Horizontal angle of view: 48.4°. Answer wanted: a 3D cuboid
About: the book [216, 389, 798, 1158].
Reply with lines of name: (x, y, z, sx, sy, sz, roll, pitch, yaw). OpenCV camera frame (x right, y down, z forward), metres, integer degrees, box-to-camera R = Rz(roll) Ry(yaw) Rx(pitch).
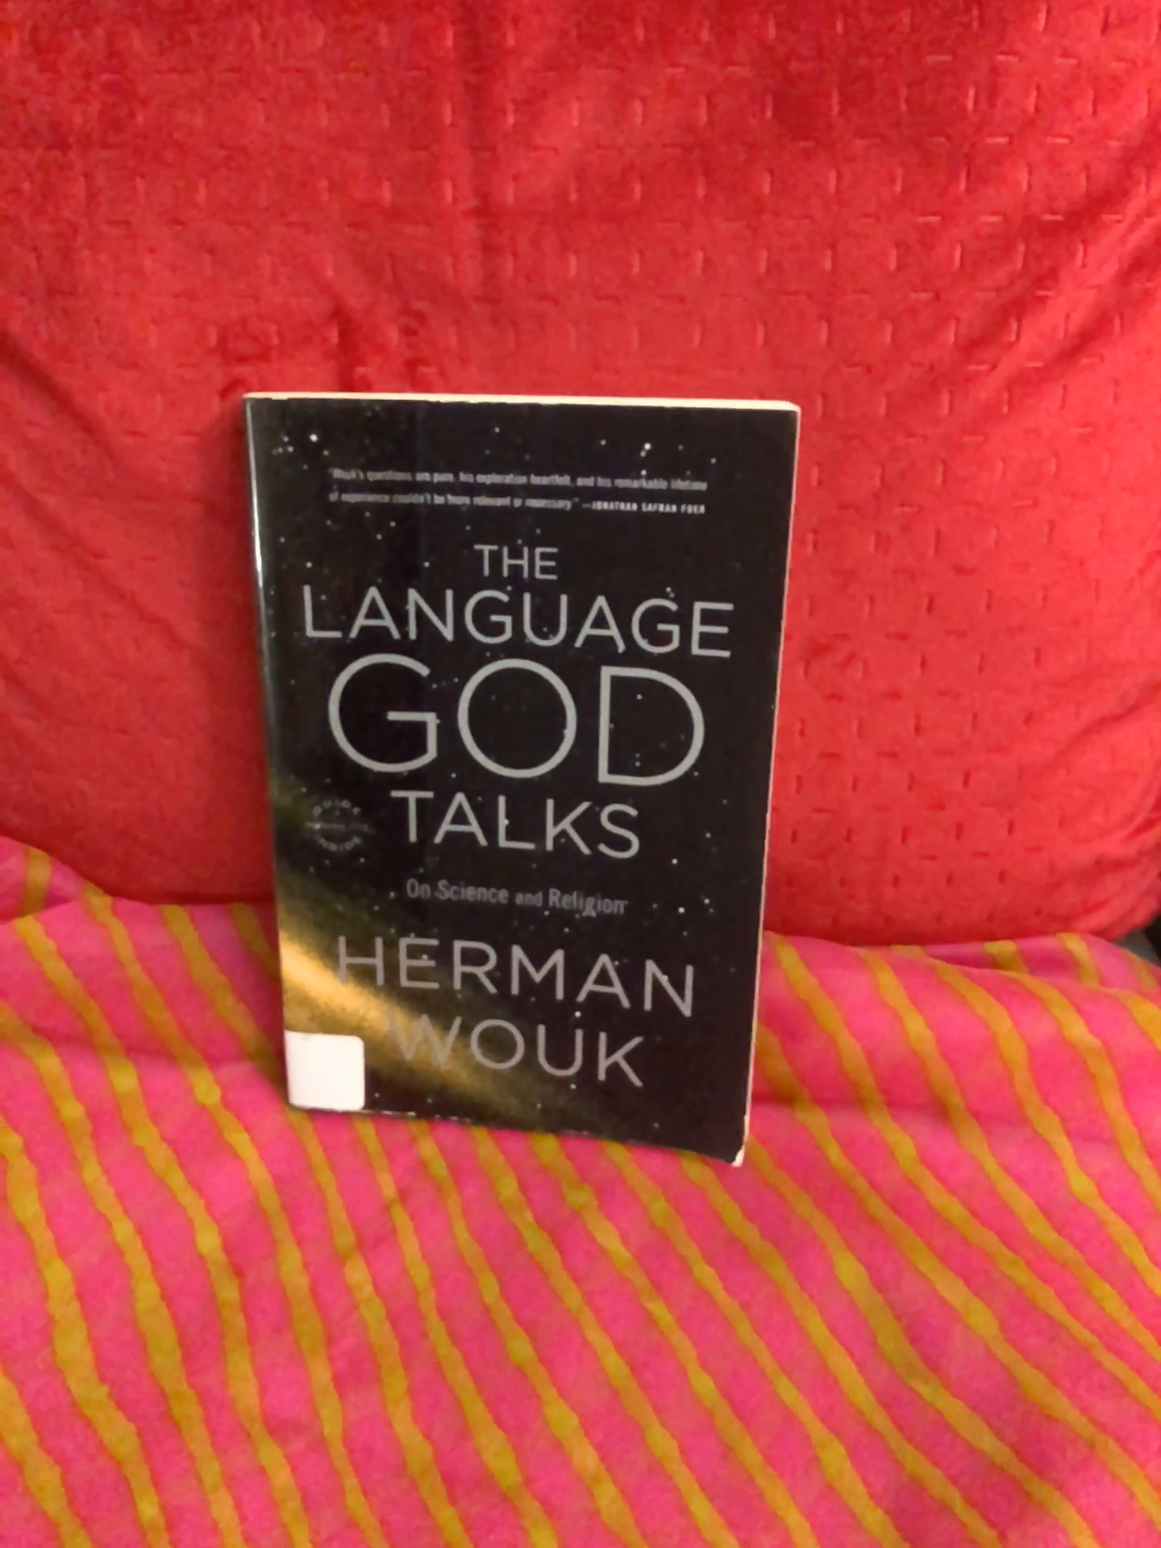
book: (-0.019, 0.002, 0.348, 0.138, 0.199, 0.030, 4, 19, 8)
